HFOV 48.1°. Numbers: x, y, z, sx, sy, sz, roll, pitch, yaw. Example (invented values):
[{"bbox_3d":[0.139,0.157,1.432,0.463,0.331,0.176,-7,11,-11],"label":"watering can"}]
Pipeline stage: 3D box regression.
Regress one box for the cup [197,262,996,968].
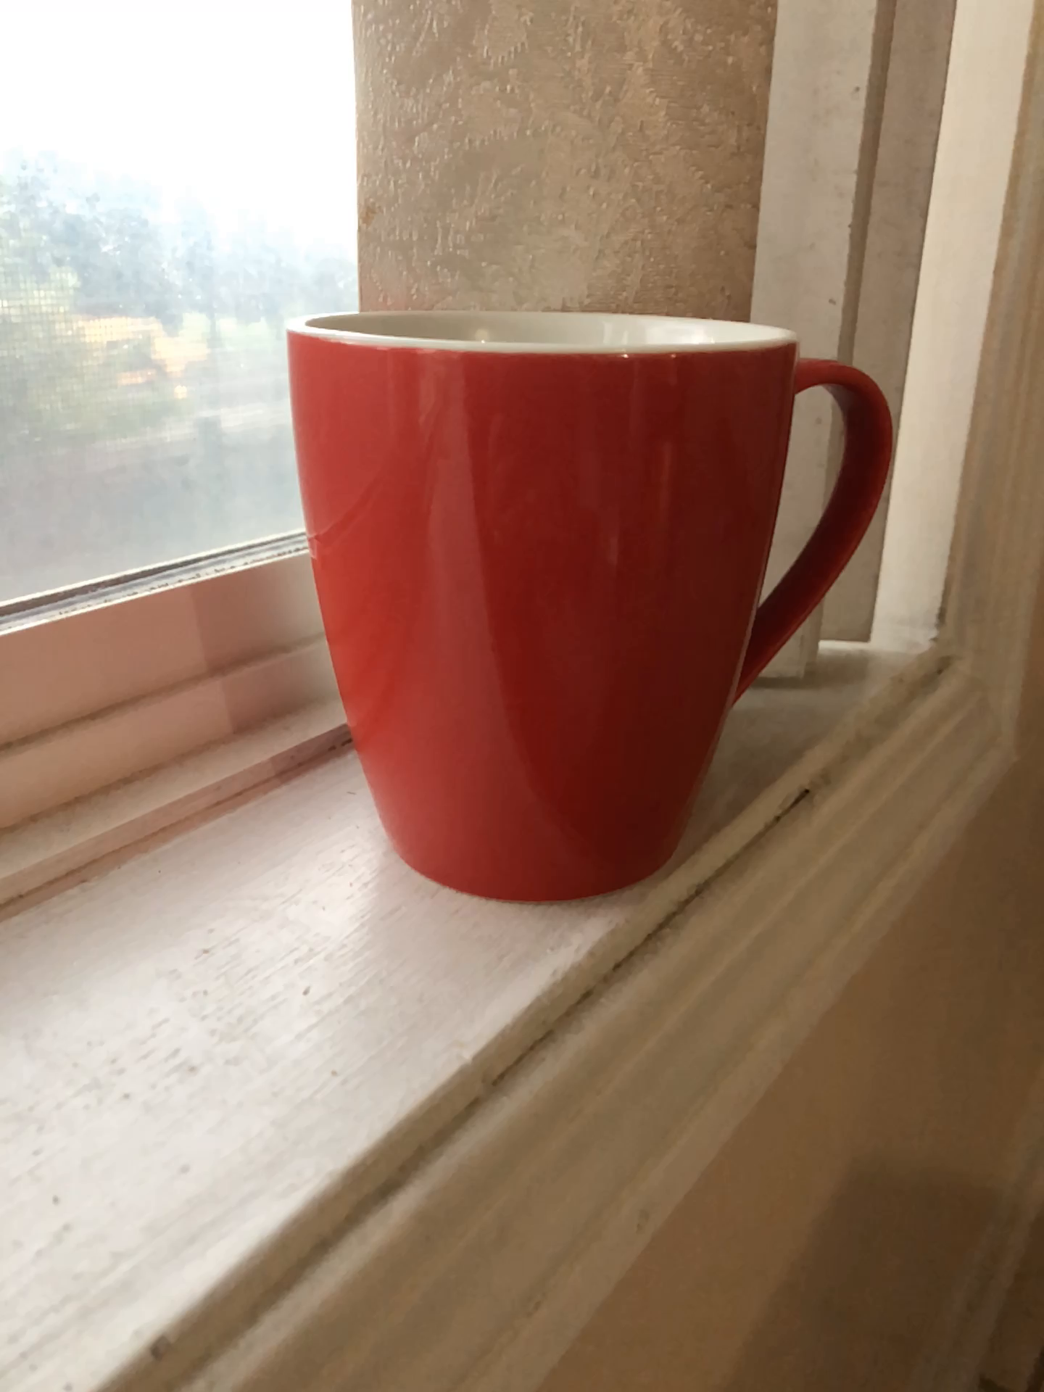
[{"bbox_3d":[0.016,-0.029,0.209,0.080,0.090,0.110,19,27,40],"label":"cup"}]
